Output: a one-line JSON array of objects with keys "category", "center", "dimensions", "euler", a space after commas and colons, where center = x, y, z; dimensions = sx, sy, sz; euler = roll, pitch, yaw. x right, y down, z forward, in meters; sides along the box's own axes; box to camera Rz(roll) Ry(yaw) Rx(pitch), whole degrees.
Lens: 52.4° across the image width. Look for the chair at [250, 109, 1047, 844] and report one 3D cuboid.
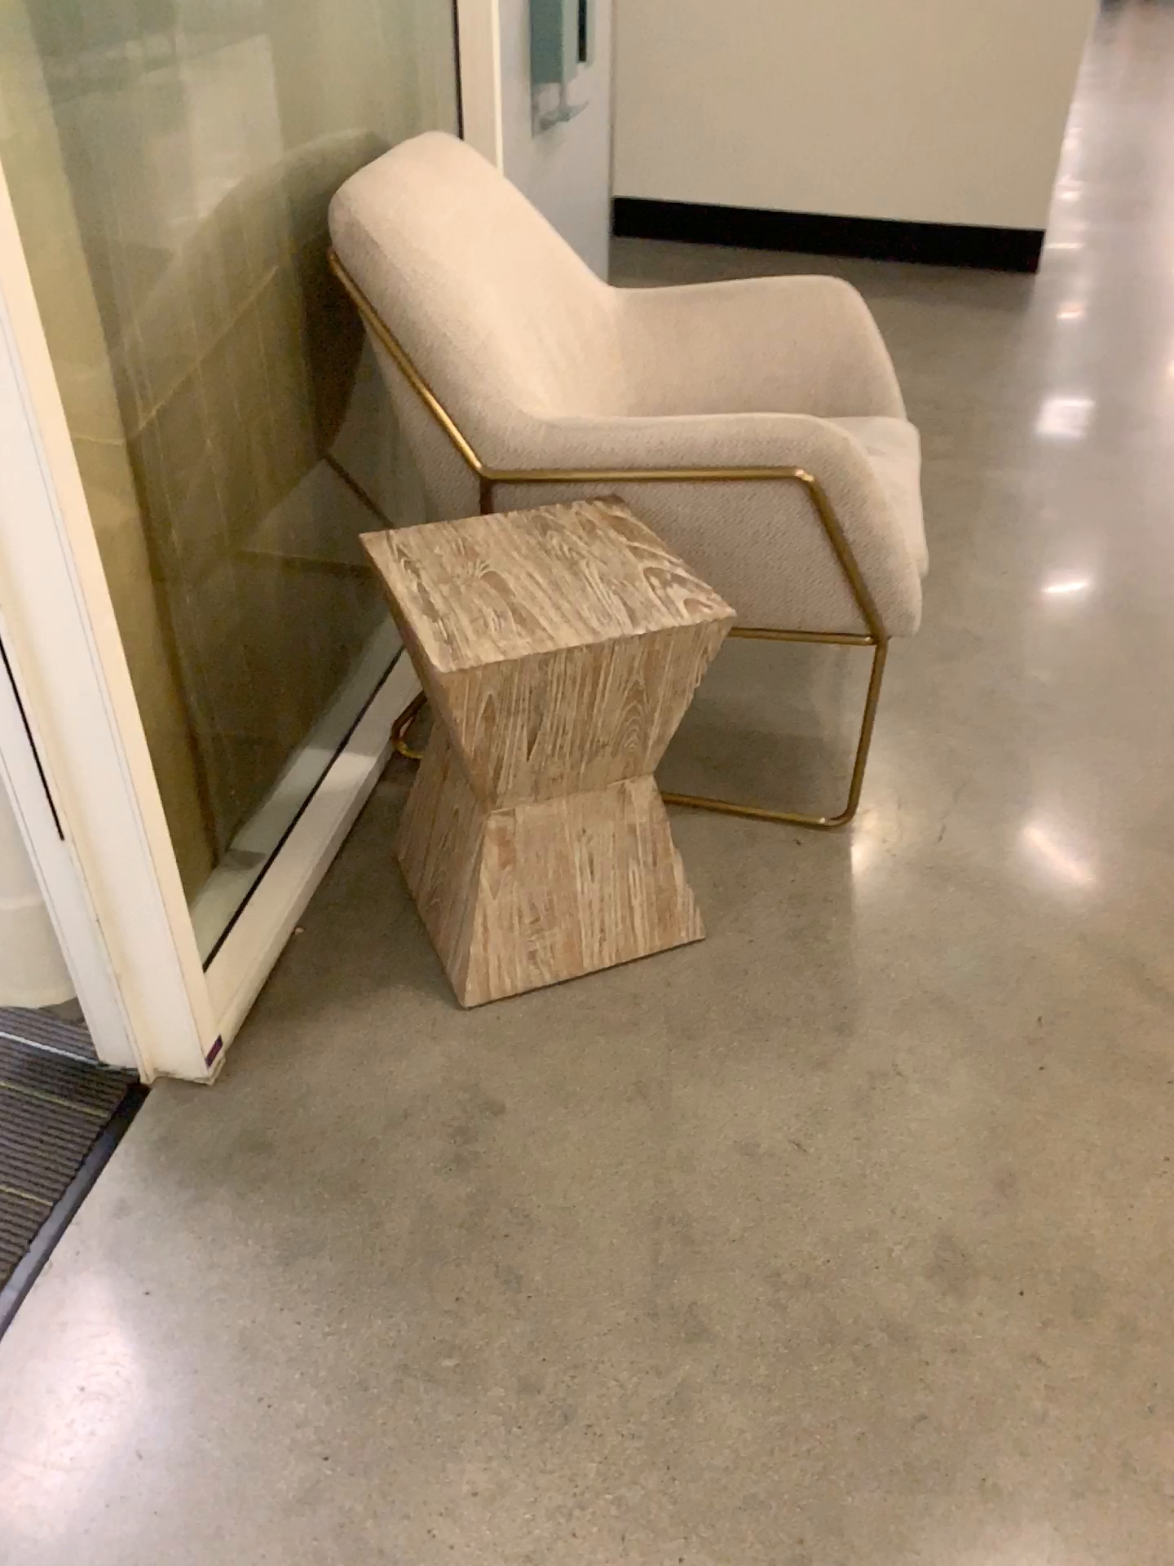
[{"category": "chair", "center": [0.106, -0.510, 1.847], "dimensions": [0.880, 0.815, 0.755], "euler": [6, 37, 7]}]
